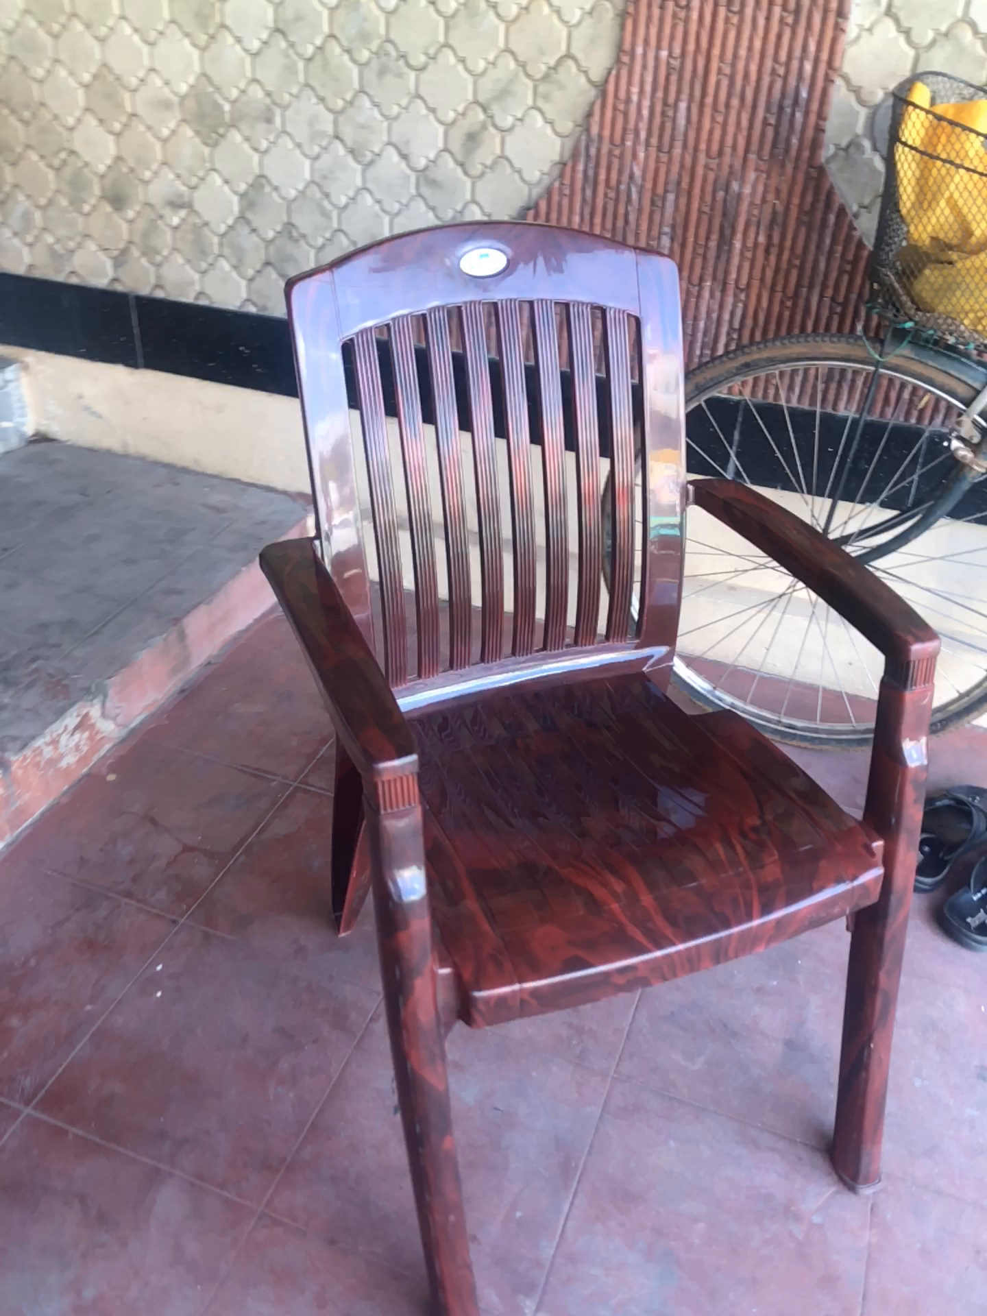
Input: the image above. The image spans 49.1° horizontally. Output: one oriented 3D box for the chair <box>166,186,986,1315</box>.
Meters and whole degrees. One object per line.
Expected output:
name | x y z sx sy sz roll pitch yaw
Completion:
chair | 0.076 0.065 1.074 0.591 0.845 0.702 -10 36 -18
